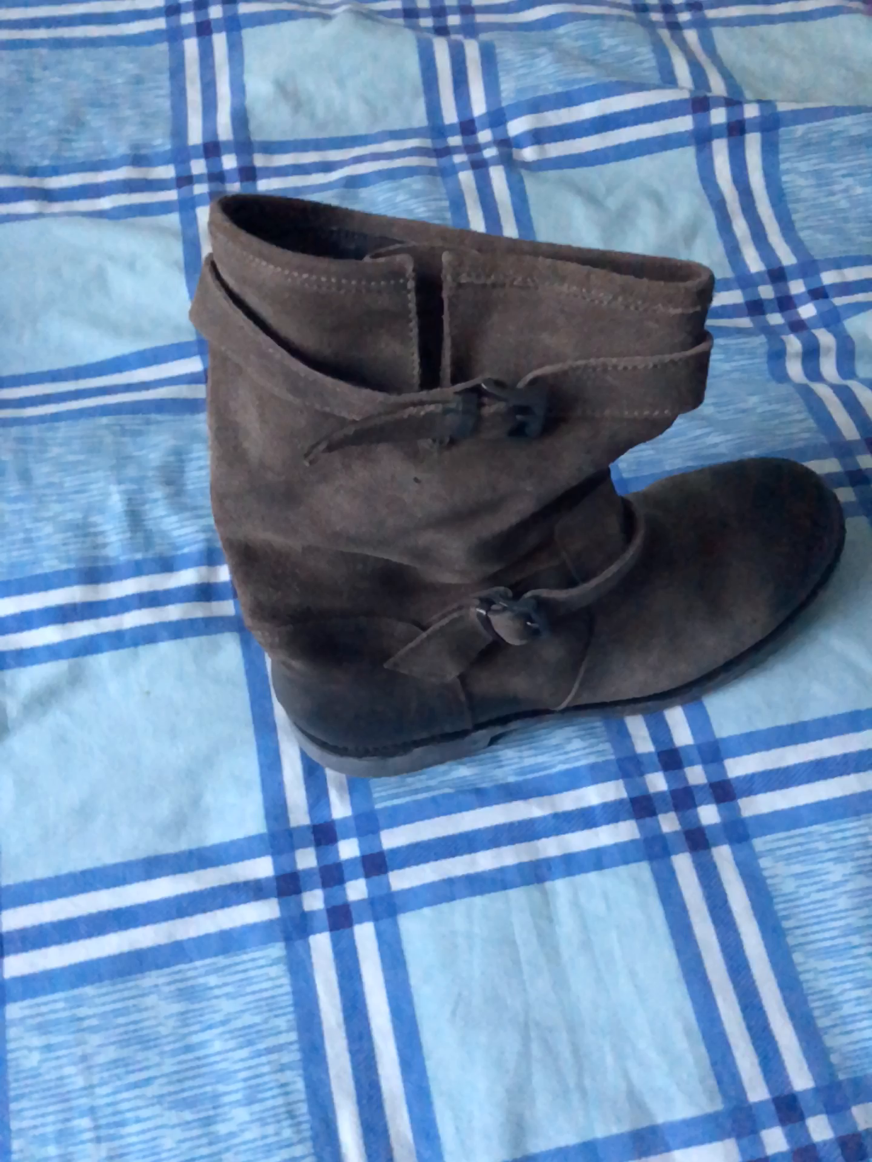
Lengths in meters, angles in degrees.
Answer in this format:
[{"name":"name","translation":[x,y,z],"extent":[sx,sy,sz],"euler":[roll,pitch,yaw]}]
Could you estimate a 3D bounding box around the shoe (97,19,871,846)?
[{"name":"shoe","translation":[0.069,-0.032,0.416],"extent":[0.320,0.290,0.130],"euler":[-17,65,-10]}]
